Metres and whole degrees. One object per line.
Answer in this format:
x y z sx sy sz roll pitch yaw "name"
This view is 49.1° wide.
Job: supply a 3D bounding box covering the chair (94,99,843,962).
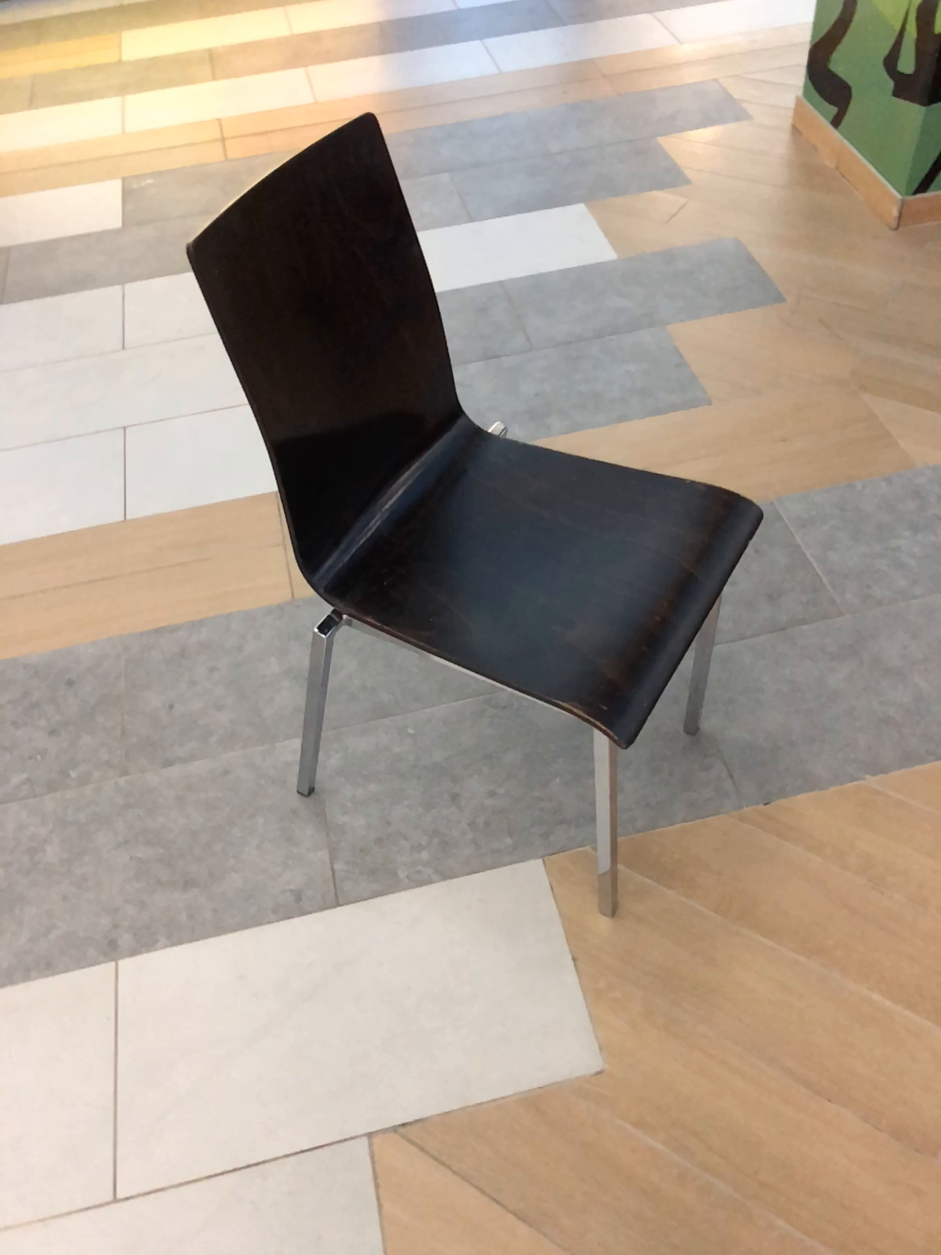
0.033 -0.080 1.257 0.542 0.847 0.435 22 54 22 "chair"
